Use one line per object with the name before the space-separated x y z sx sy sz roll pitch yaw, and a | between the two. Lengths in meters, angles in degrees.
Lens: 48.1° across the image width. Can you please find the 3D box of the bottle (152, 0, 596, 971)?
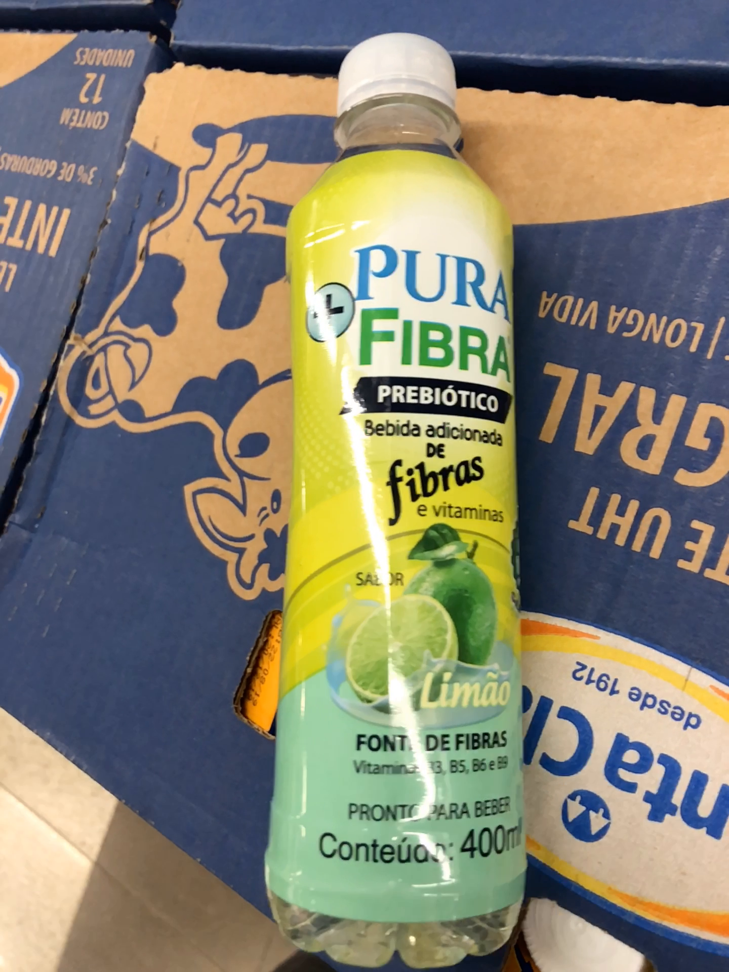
bottle | 0.011 -0.021 0.195 0.070 0.060 0.250 -4 75 29
